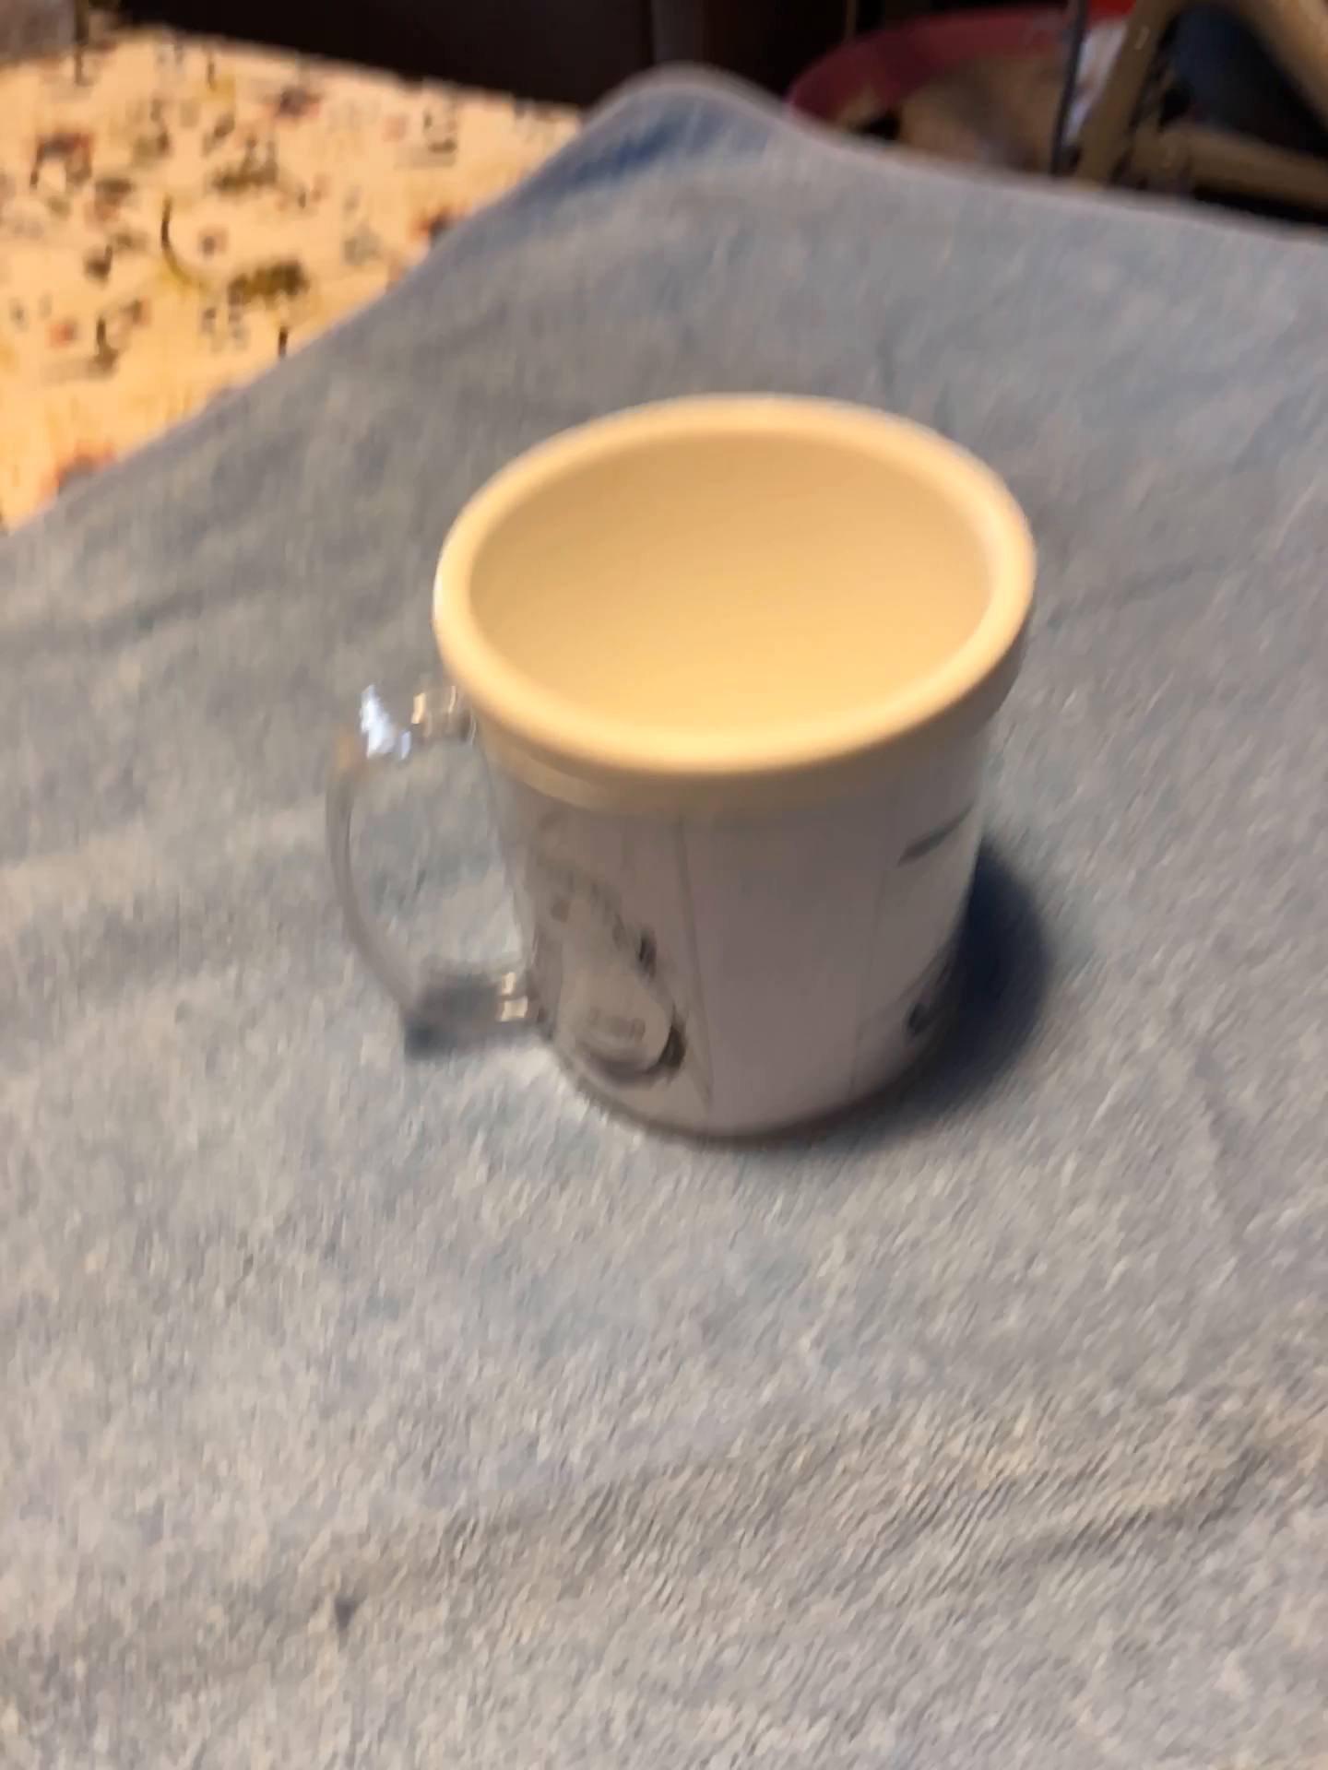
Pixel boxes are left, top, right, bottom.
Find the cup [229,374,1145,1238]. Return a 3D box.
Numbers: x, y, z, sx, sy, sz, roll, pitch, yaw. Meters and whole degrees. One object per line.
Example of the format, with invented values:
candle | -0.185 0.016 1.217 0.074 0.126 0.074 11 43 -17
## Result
cup | 0.000 -0.013 0.258 0.120 0.099 0.091 -9 47 -4
